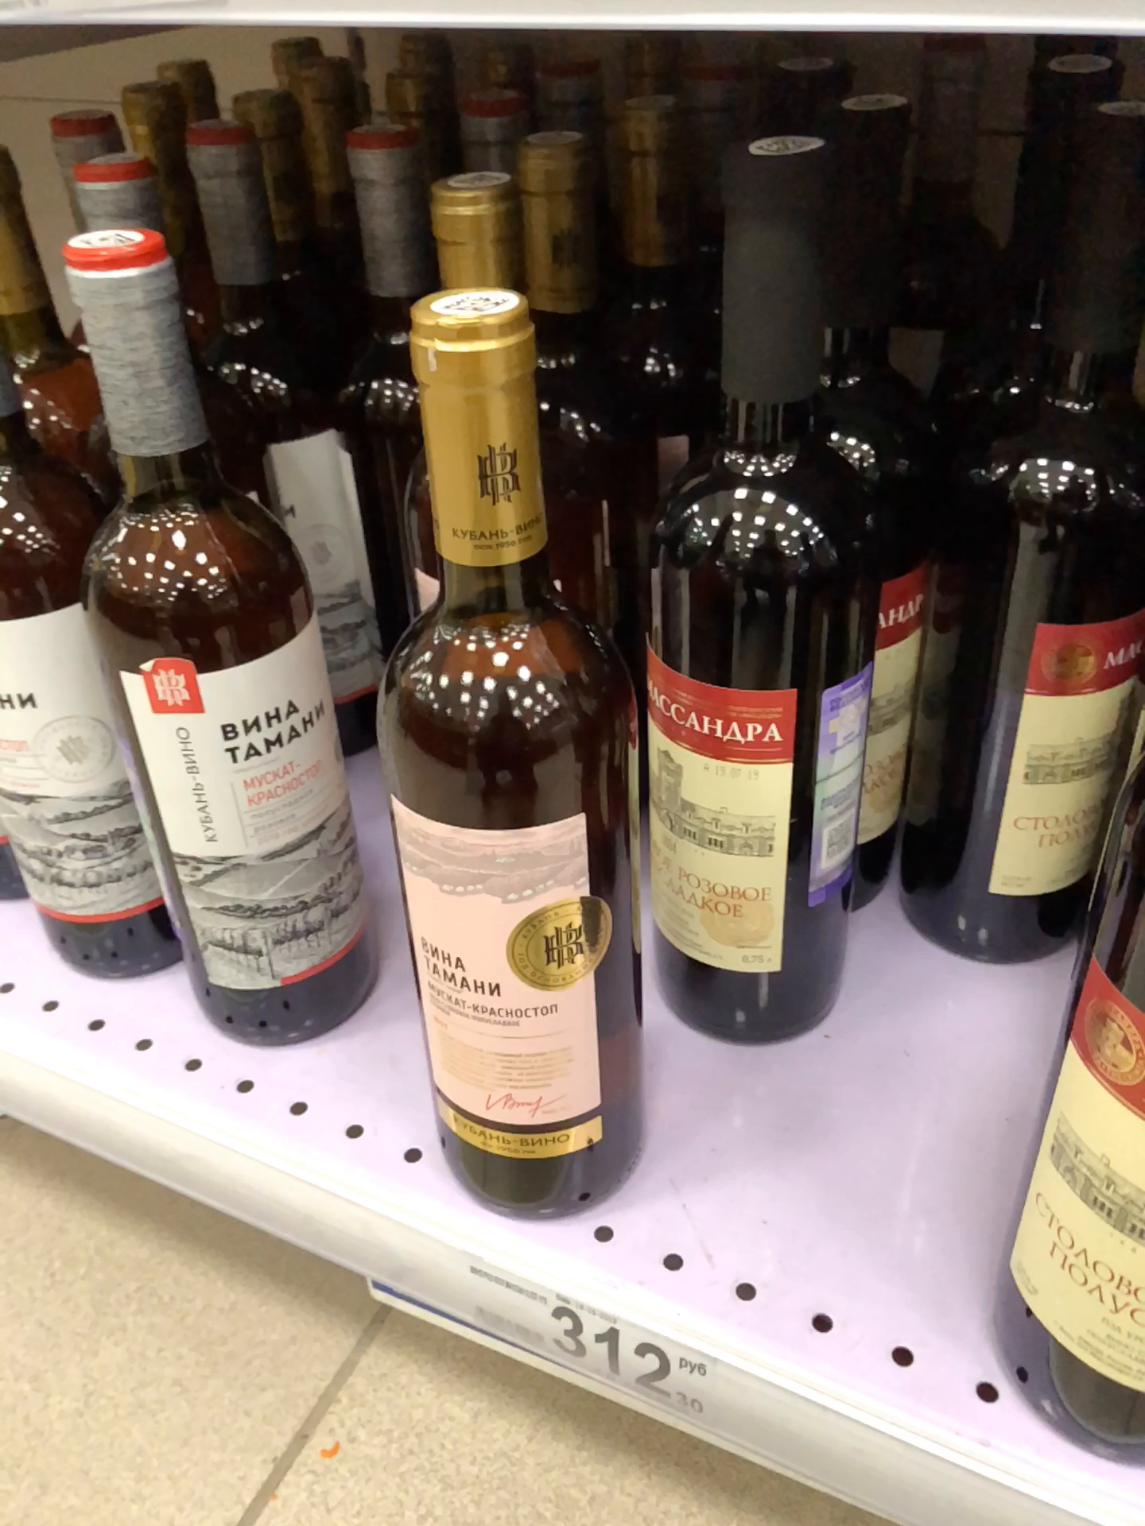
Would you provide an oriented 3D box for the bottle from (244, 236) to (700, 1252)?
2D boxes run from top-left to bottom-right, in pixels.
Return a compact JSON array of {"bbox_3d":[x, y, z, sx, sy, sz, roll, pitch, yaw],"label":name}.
[{"bbox_3d":[-0.013,0.013,0.360,0.080,0.290,0.070,8,37,15],"label":"bottle"}]
